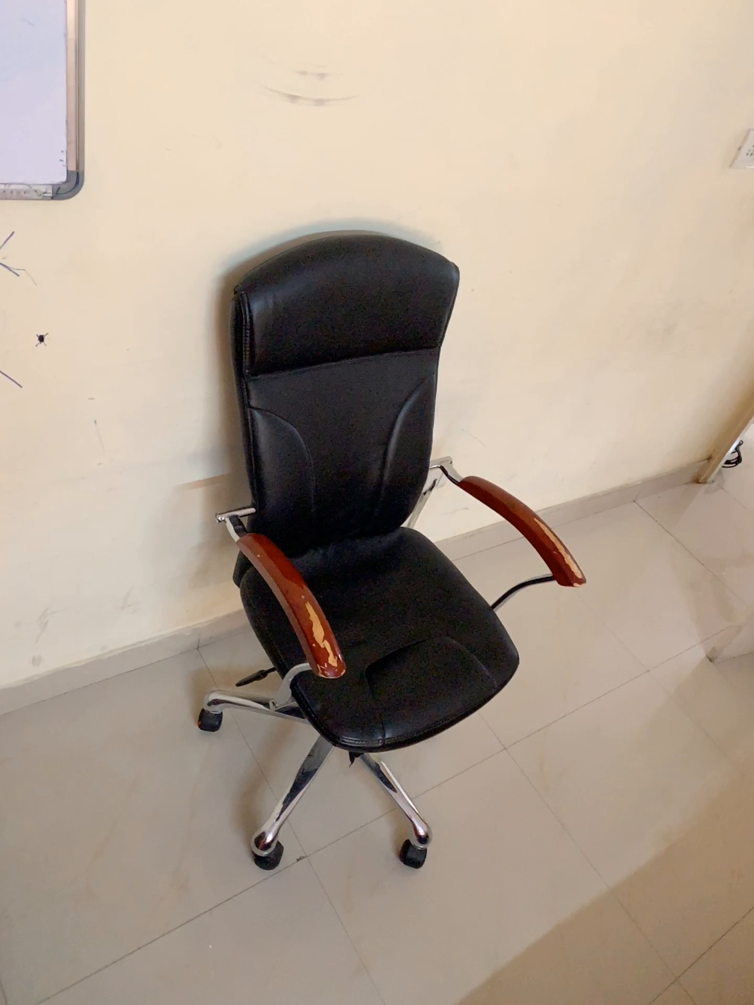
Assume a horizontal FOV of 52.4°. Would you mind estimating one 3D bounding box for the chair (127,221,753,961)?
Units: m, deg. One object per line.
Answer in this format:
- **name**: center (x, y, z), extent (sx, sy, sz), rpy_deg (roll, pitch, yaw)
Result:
- **chair**: center (0.012, 0.149, 1.491), extent (0.703, 1.081, 0.754), rpy_deg (-14, 50, -33)
